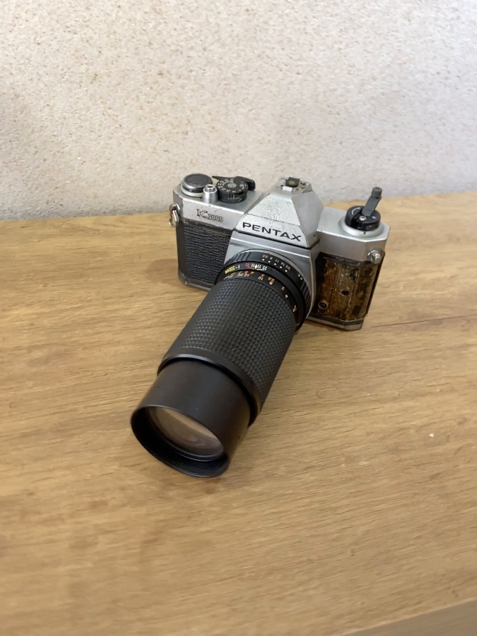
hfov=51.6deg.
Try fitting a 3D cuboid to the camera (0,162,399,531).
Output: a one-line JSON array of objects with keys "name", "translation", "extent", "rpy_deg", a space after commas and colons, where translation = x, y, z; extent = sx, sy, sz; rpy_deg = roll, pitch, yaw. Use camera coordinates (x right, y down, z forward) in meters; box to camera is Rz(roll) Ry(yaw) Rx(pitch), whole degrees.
[{"name": "camera", "translation": [-0.003, -0.006, 0.283], "extent": [0.150, 0.079, 0.181], "rpy_deg": [14, 41, 14]}]
